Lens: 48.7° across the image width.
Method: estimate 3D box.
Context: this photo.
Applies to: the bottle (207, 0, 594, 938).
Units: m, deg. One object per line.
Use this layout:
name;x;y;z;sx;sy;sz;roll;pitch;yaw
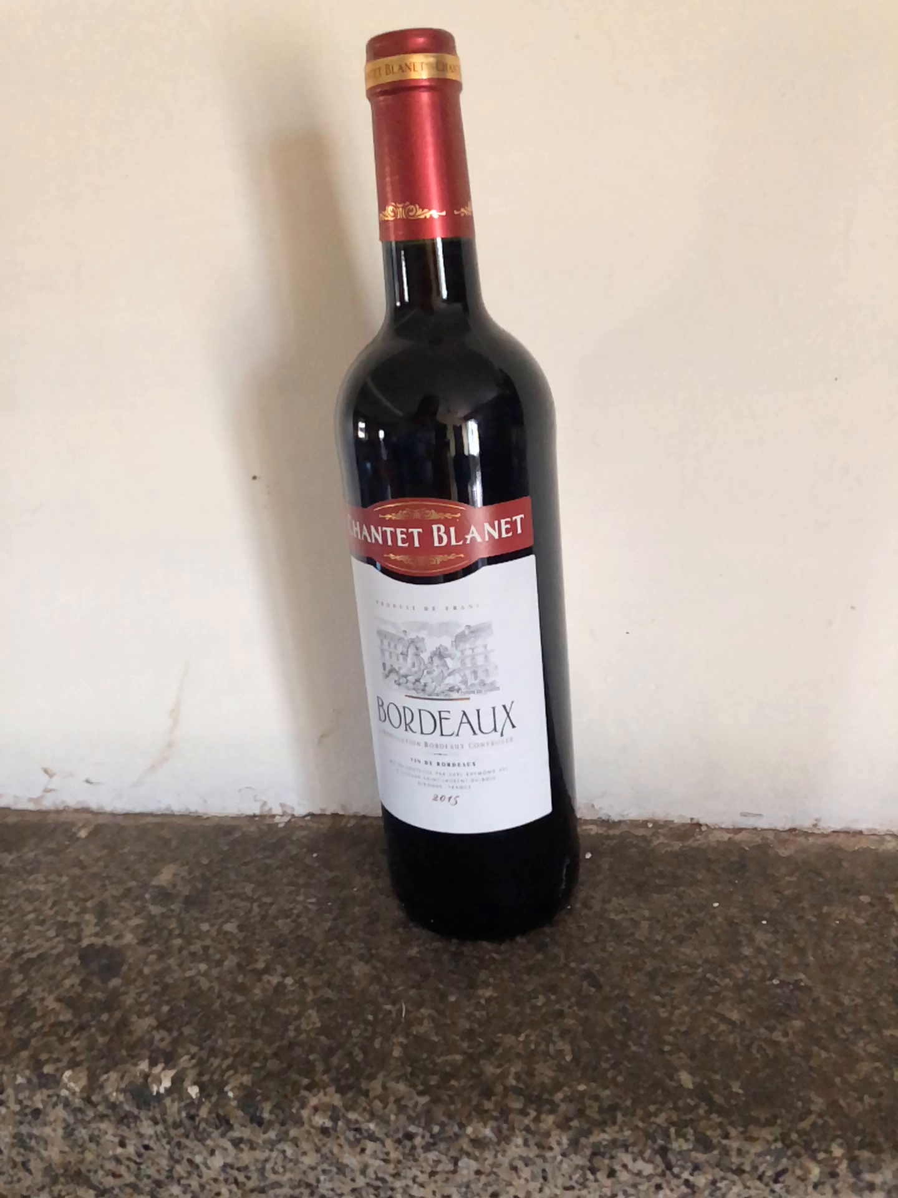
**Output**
bottle;-0.003;-0.035;0.338;0.080;0.289;0.080;-6;17;2
